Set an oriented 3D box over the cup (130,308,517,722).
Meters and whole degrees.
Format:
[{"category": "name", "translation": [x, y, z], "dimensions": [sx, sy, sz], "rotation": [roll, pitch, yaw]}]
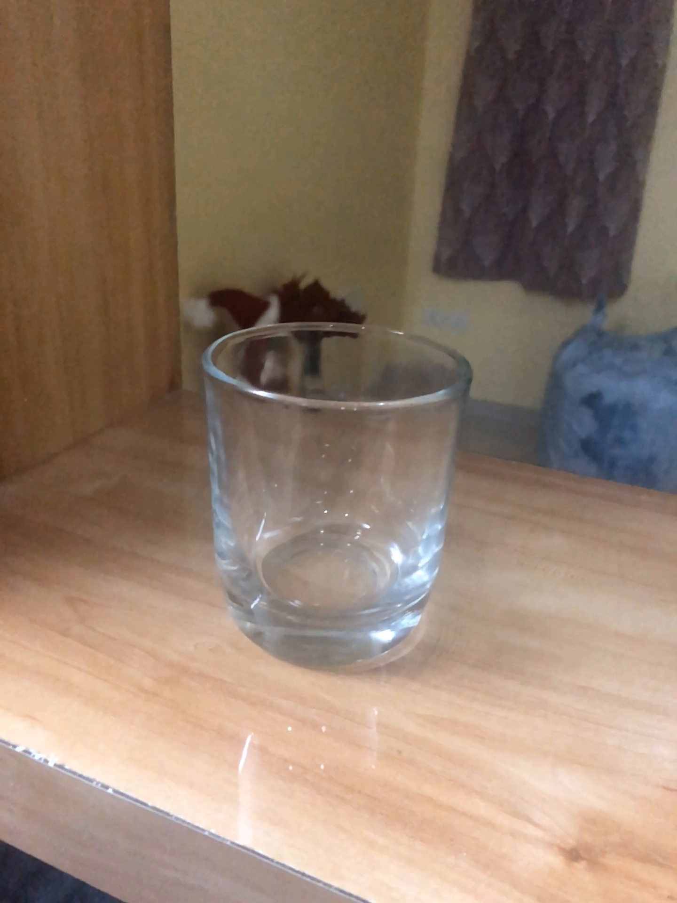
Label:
[{"category": "cup", "translation": [-0.008, 0.011, 0.251], "dimensions": [0.080, 0.090, 0.090], "rotation": [-18, 31, -39]}]
